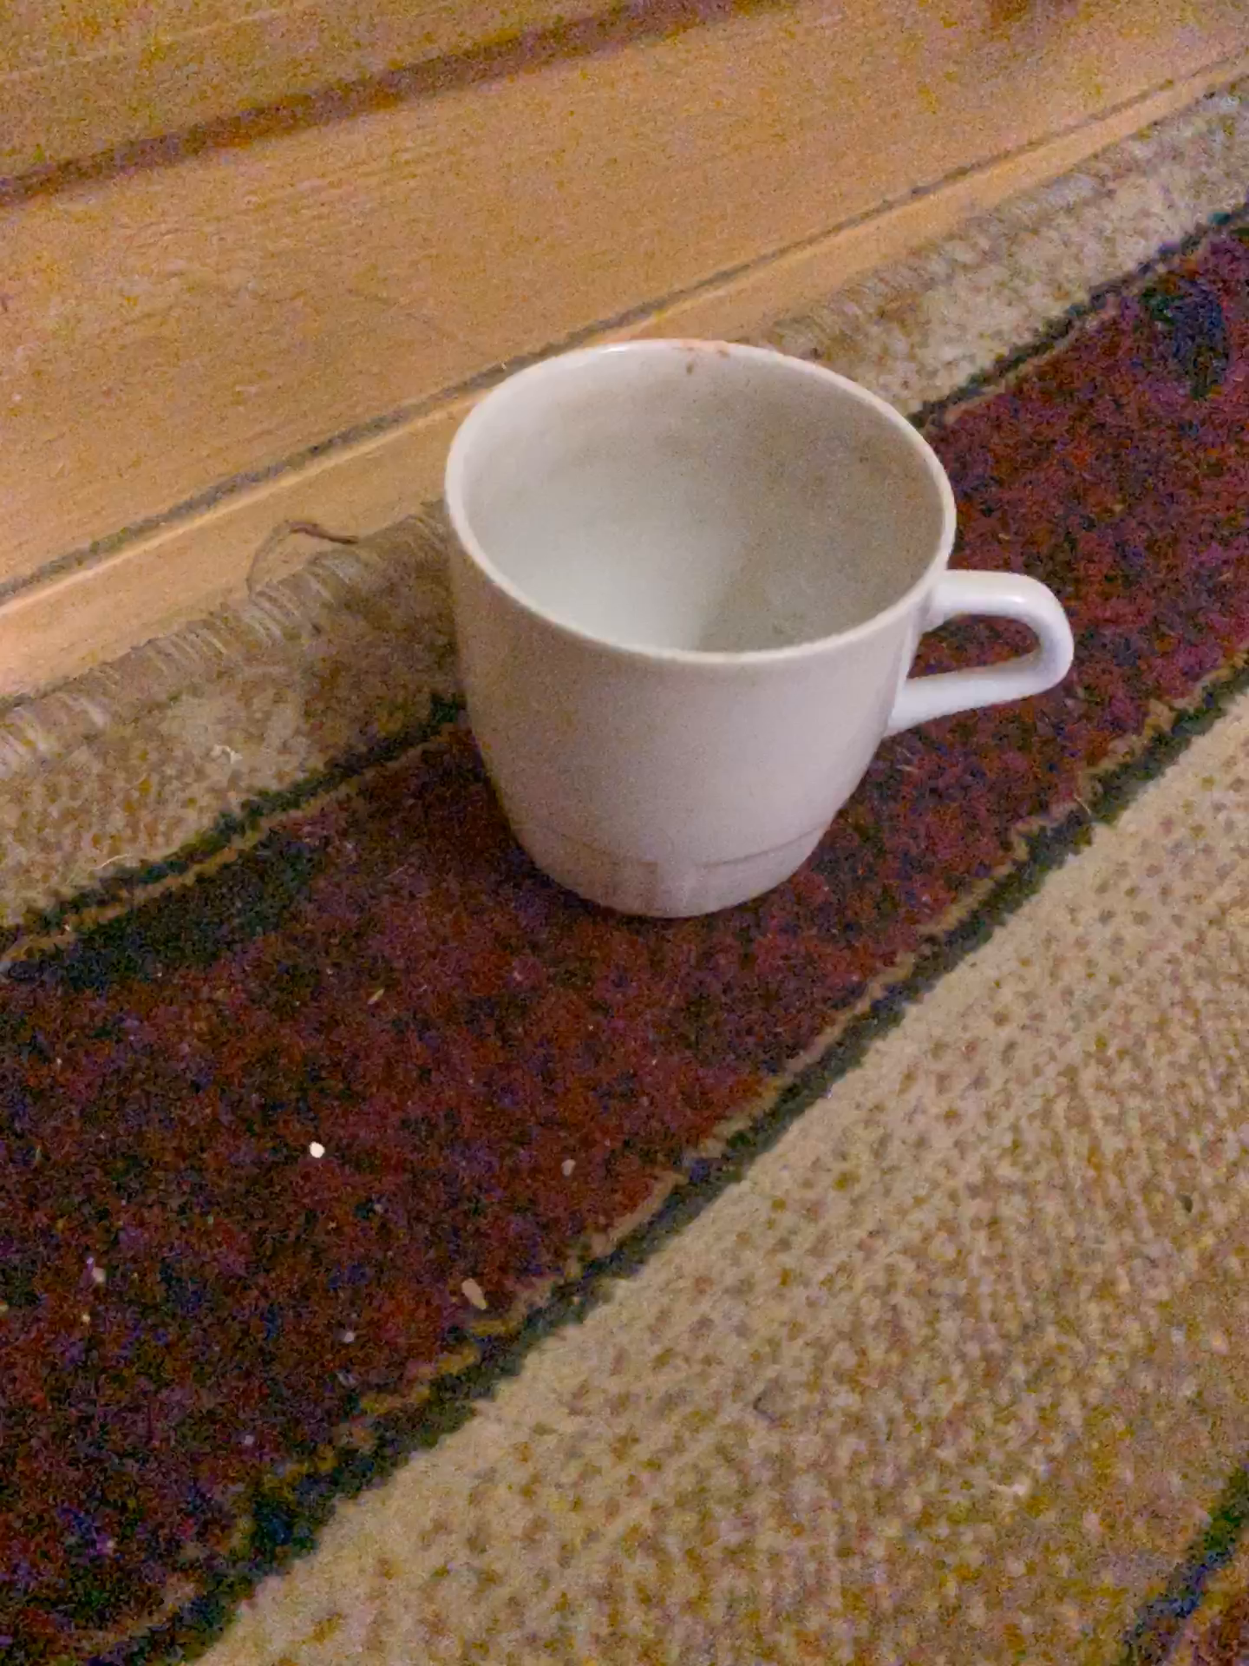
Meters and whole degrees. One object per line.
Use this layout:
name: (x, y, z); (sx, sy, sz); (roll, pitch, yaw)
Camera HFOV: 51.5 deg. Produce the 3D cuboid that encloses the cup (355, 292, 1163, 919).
cup: (0.017, -0.040, 0.236); (0.114, 0.075, 0.082); (1, 52, -3)
